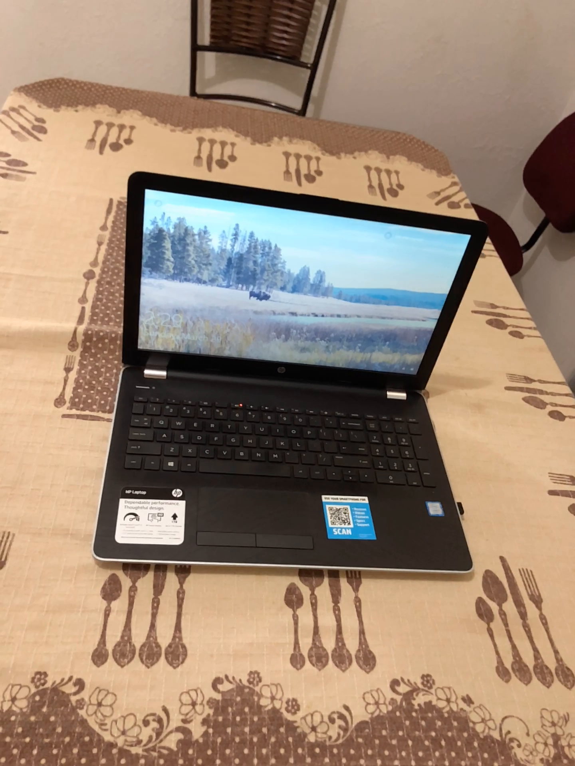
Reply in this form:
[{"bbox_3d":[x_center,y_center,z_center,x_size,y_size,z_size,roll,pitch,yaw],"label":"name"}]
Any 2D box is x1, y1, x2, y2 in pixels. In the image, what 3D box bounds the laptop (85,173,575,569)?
[{"bbox_3d":[0.016,-0.007,0.608,0.360,0.225,0.269,5,44,-11],"label":"laptop"}]
